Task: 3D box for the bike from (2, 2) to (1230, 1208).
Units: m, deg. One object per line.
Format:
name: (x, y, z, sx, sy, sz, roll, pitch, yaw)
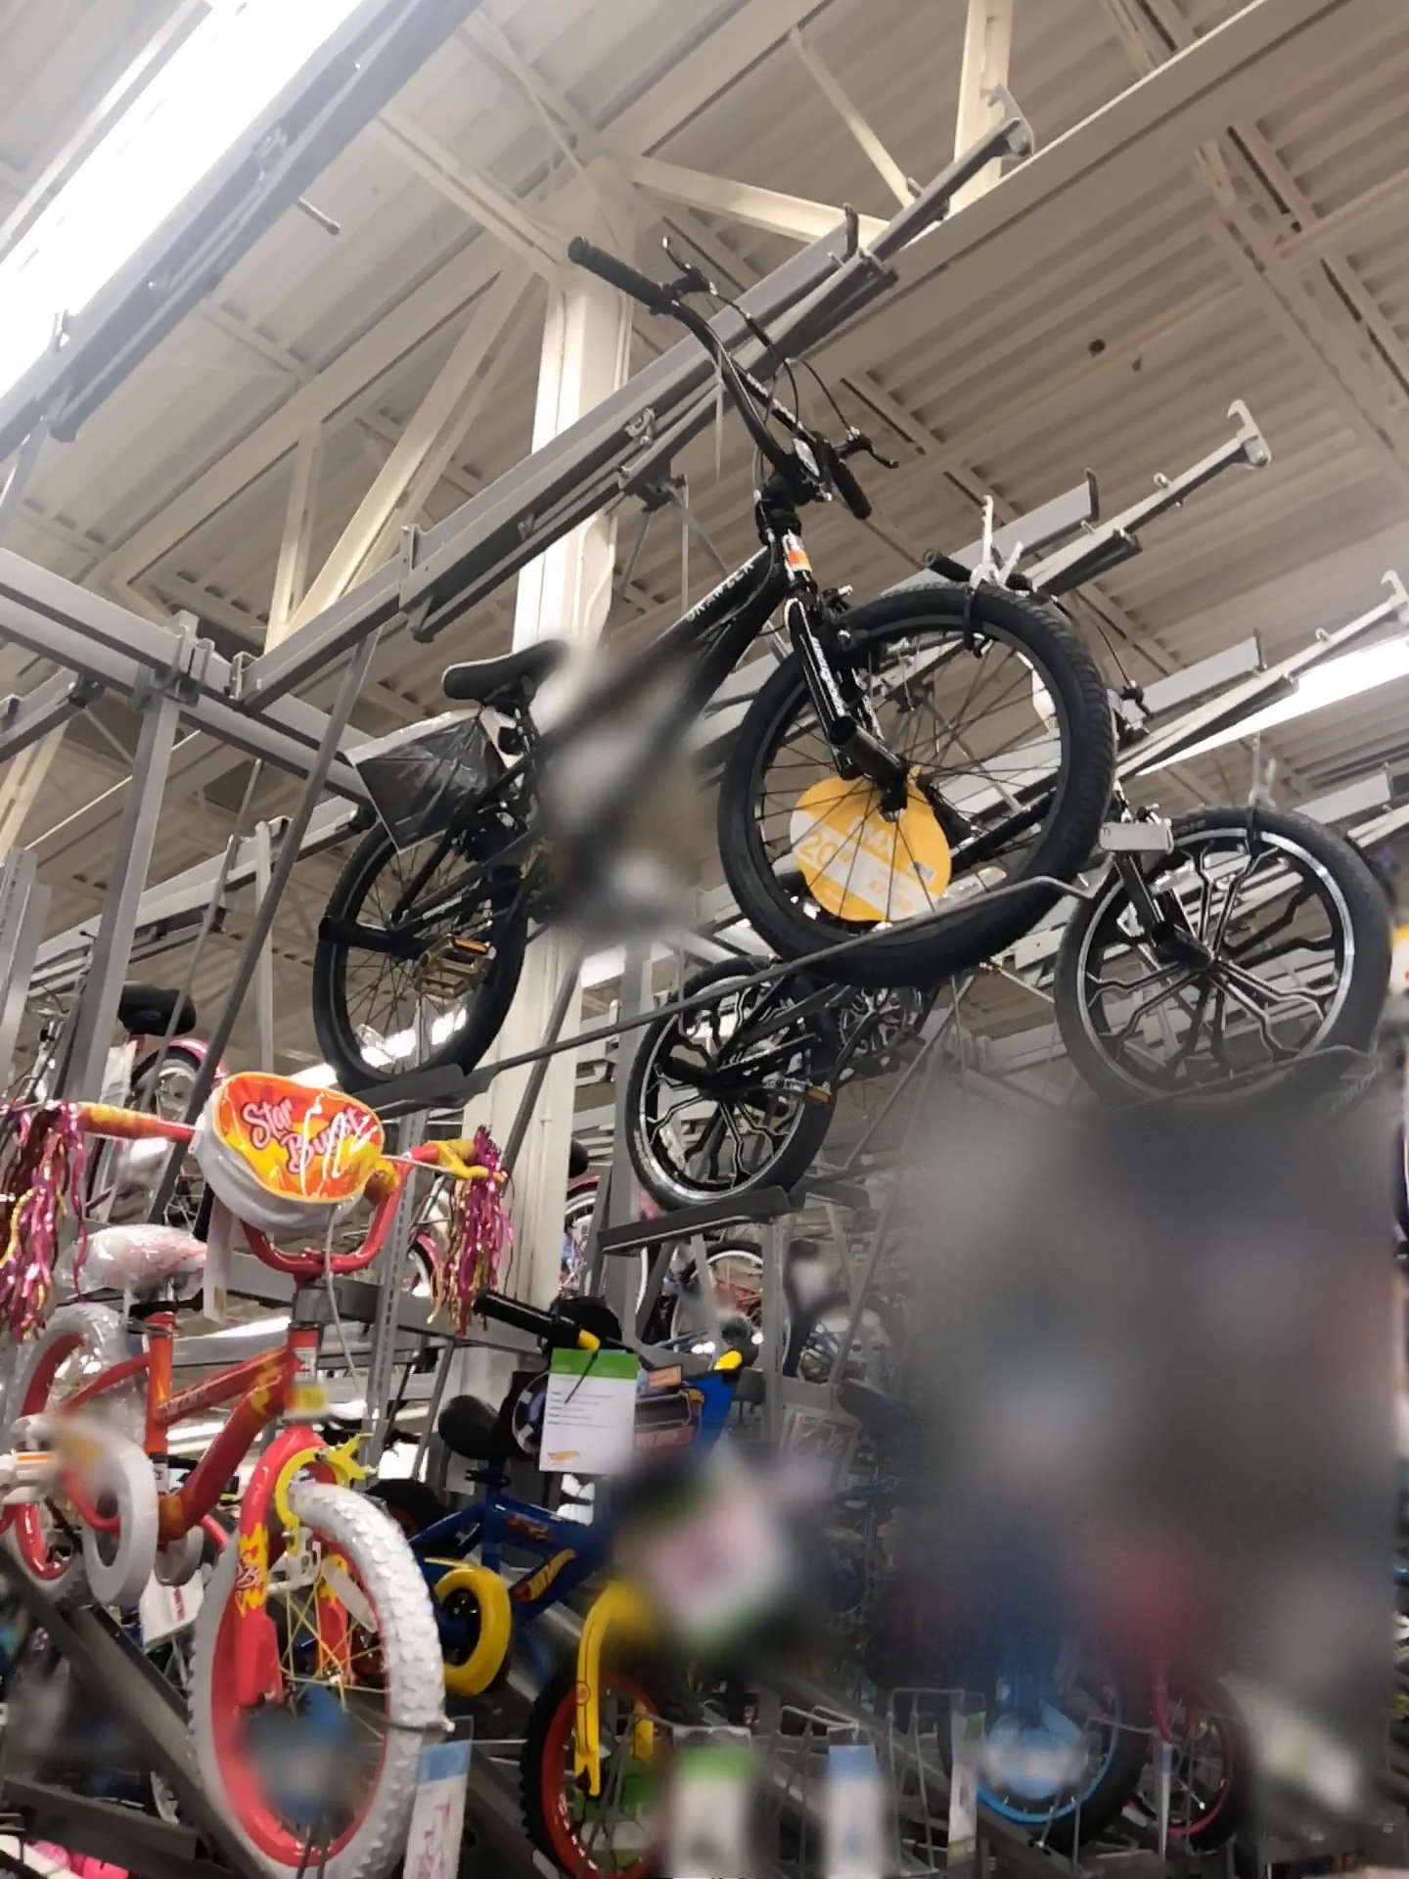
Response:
bike: (-0.156, -0.271, 2.080, 1.350, 0.909, 0.752, -20, -33, 38)
